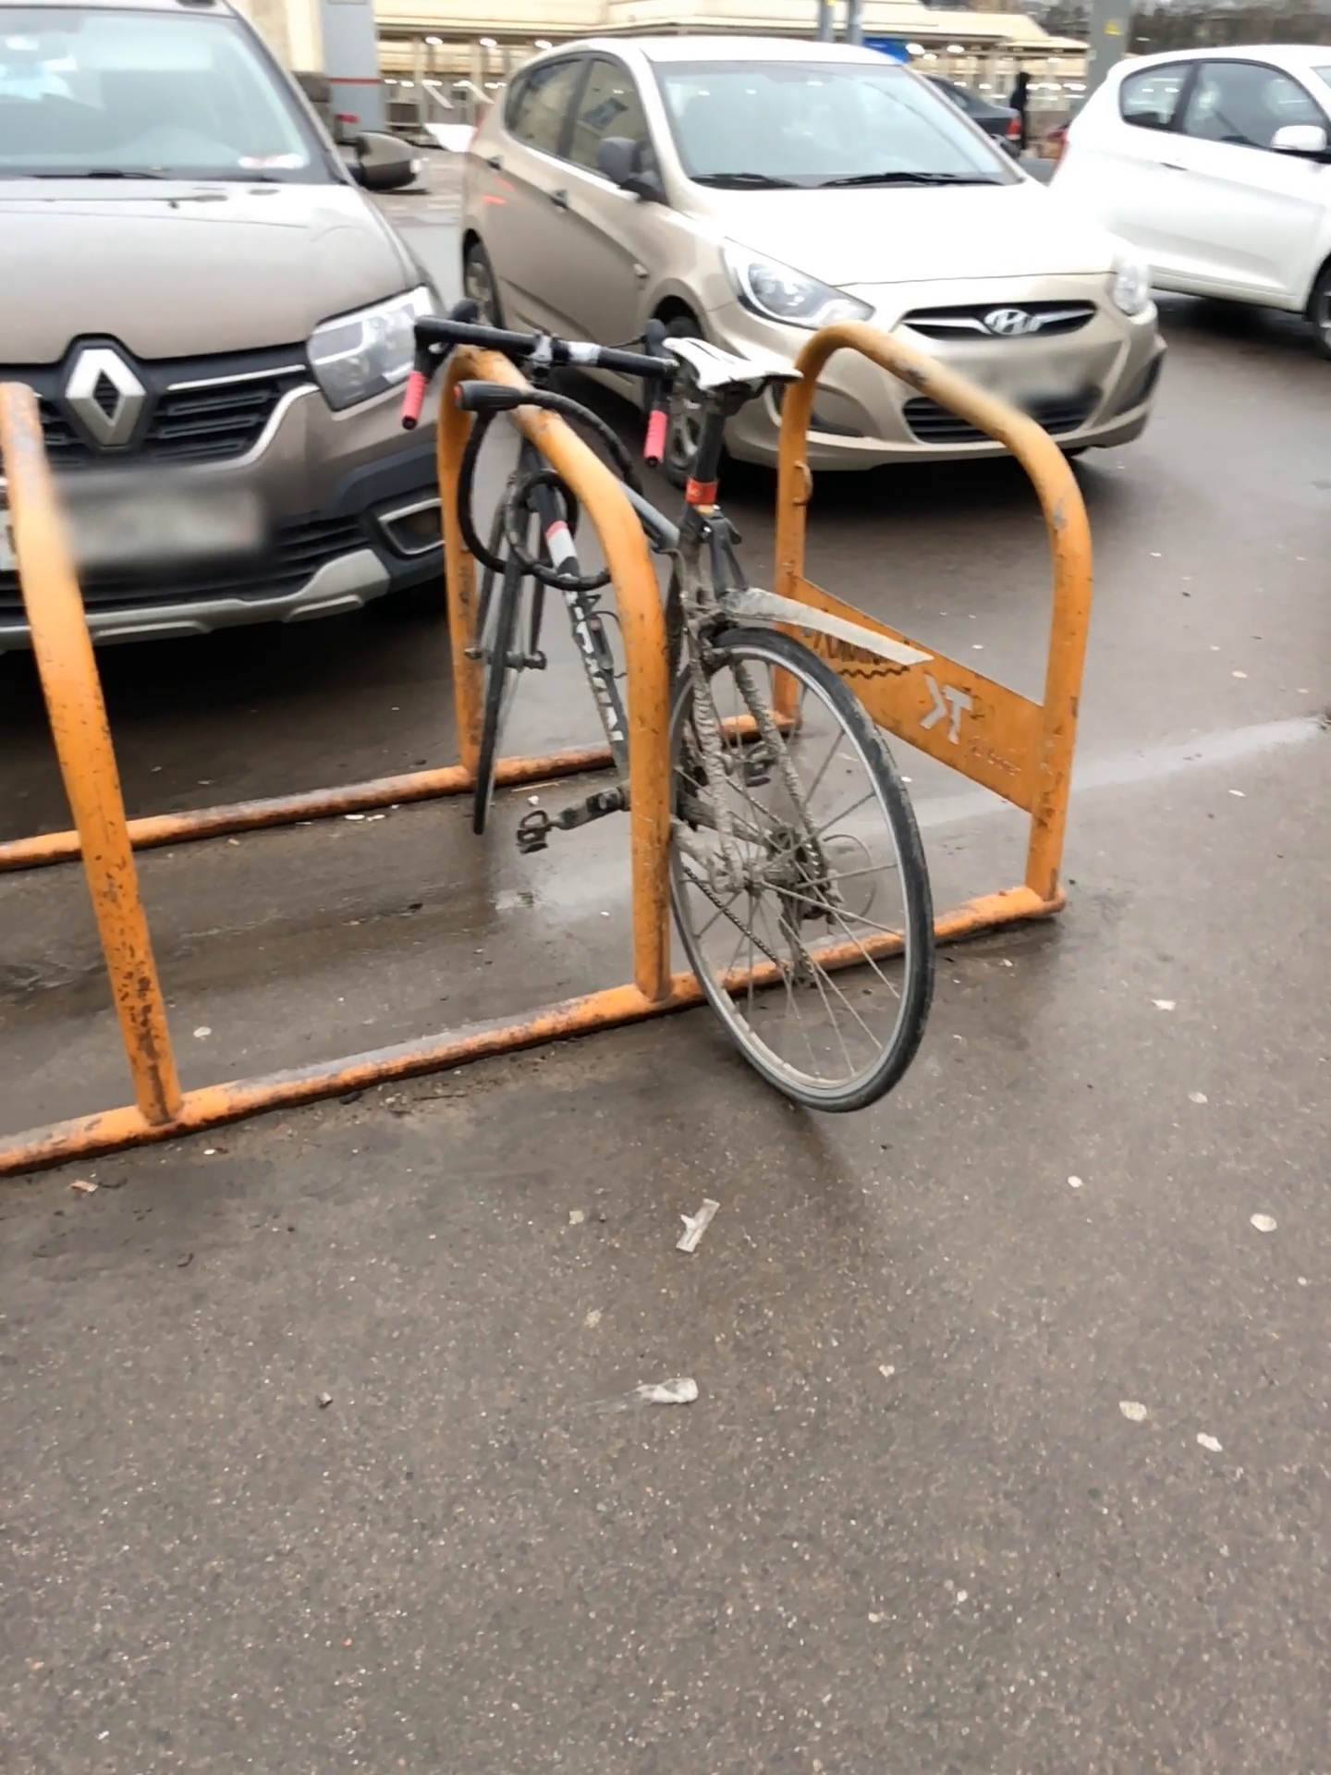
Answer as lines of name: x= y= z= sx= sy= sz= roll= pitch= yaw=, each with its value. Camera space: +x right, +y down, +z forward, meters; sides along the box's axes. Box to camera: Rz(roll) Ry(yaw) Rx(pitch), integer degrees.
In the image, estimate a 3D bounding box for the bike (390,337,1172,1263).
bike: x=0.027 y=-0.307 z=2.227 sx=0.490 sy=0.761 sz=1.524 roll=-11 pitch=31 yaw=-21
